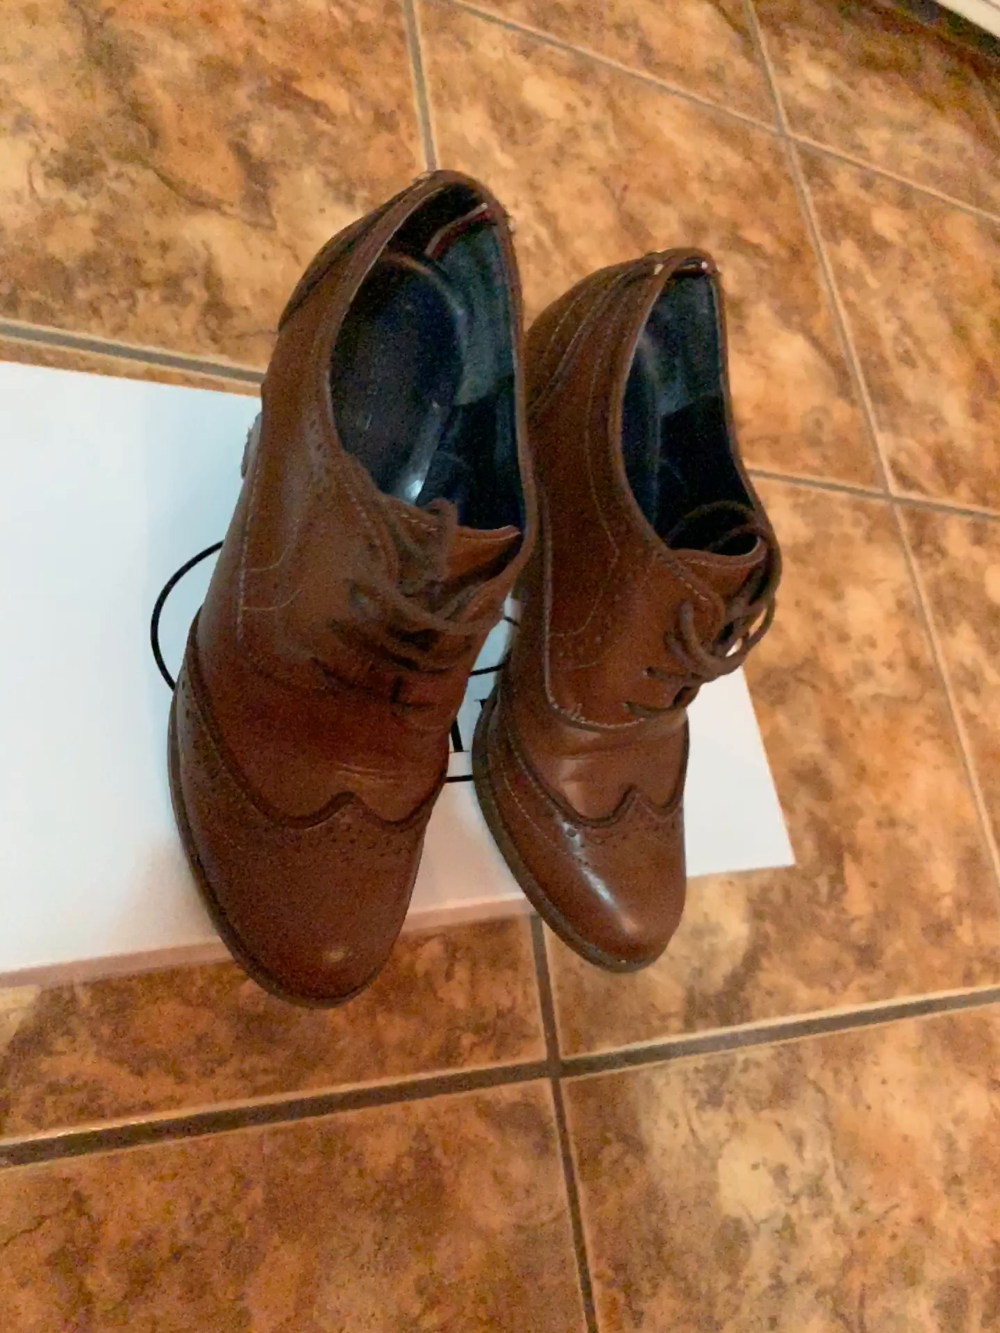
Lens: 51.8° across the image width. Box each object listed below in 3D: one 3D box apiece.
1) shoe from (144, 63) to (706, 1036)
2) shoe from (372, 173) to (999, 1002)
[{"bbox_3d":[-0.042,-0.022,0.303,0.096,0.136,0.228,5,66,-29],"label":"shoe"},{"bbox_3d":[0.048,-0.019,0.355,0.096,0.136,0.228,-3,70,-32],"label":"shoe"}]
